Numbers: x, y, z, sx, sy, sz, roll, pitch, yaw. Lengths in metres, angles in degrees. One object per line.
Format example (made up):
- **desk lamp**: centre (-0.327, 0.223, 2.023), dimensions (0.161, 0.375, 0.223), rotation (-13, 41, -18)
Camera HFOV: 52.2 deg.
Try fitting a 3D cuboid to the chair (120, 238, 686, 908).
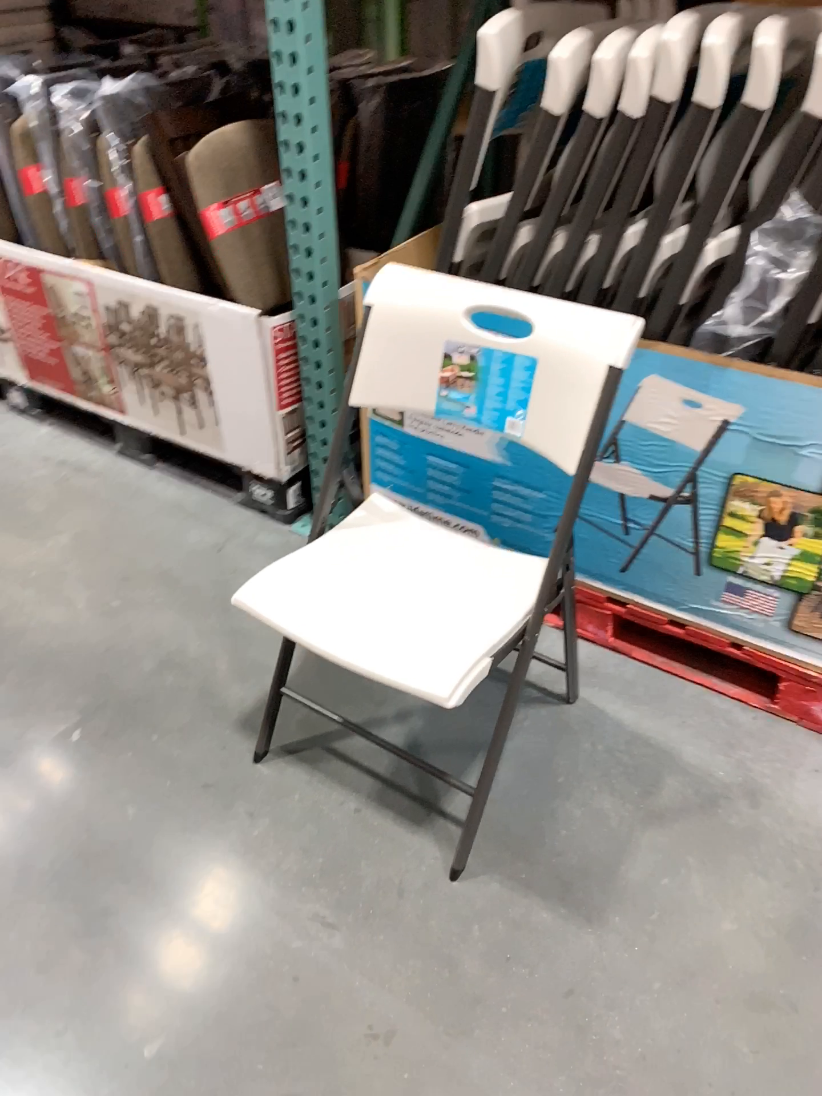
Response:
- **chair**: centre (0.014, 0.013, 1.409), dimensions (0.566, 0.805, 0.576), rotation (21, 42, 25)
